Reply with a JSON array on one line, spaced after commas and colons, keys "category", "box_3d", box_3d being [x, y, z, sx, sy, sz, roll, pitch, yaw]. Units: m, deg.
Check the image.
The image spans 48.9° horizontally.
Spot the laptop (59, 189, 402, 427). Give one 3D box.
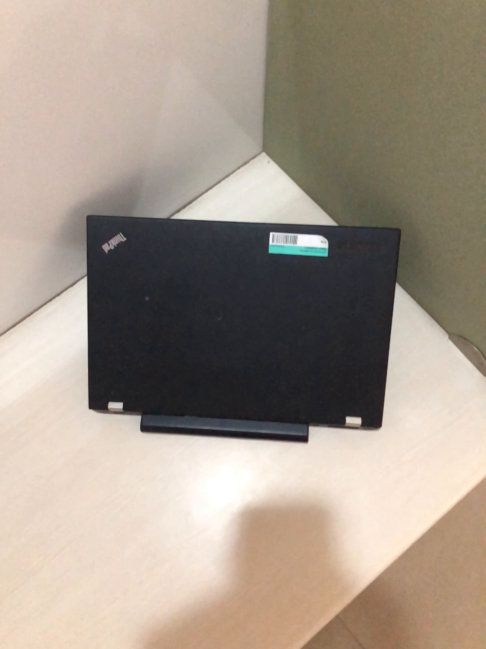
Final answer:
[{"category": "laptop", "box_3d": [-0.006, -0.016, 0.648, 0.354, 0.140, 0.232, 3, 72, 4]}]
